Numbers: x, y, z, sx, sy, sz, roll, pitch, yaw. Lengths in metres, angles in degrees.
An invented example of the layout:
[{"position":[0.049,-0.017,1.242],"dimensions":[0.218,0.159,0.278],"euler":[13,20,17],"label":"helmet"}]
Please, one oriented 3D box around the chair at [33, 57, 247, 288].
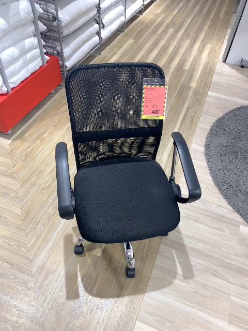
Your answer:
[{"position":[0.027,0.067,1.168],"dimensions":[0.640,0.866,0.603],"euler":[-5,49,-9],"label":"chair"}]
